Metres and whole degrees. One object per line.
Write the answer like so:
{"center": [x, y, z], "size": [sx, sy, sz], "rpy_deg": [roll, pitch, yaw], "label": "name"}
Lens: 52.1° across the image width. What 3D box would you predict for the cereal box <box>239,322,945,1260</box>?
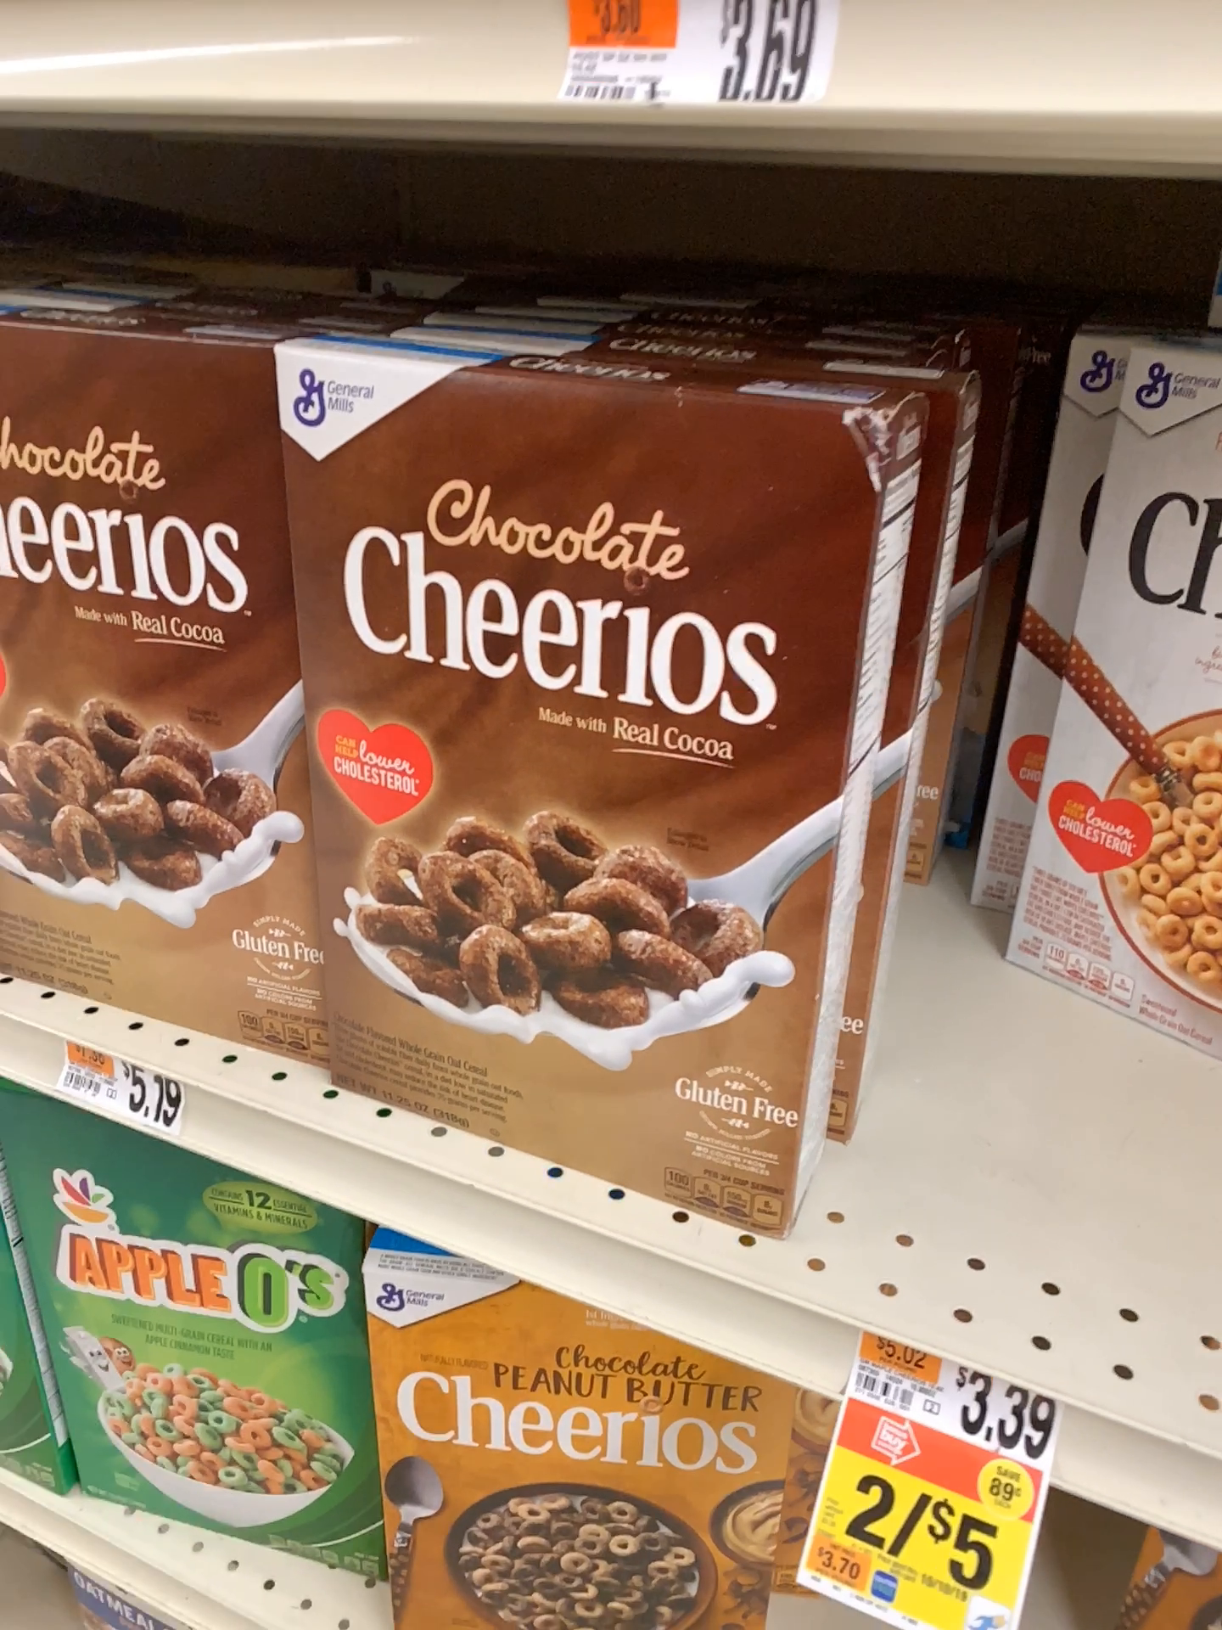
{"center": [-0.014, -0.007, 0.449], "size": [0.210, 0.298, 0.060], "rpy_deg": [14, 30, 22], "label": "cereal box"}
